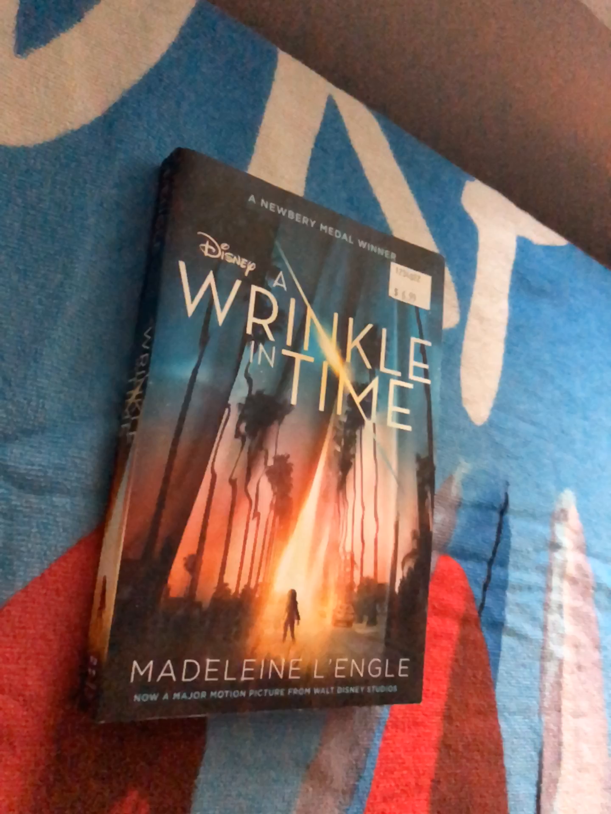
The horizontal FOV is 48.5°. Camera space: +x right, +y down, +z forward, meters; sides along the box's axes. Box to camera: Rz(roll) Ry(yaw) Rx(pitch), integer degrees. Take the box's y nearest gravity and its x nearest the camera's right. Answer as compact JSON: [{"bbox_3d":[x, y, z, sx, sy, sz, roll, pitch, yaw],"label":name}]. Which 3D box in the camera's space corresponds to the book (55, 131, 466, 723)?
[{"bbox_3d":[-0.005,0.014,0.267,0.138,0.031,0.195,14,78,-31],"label":"book"}]
